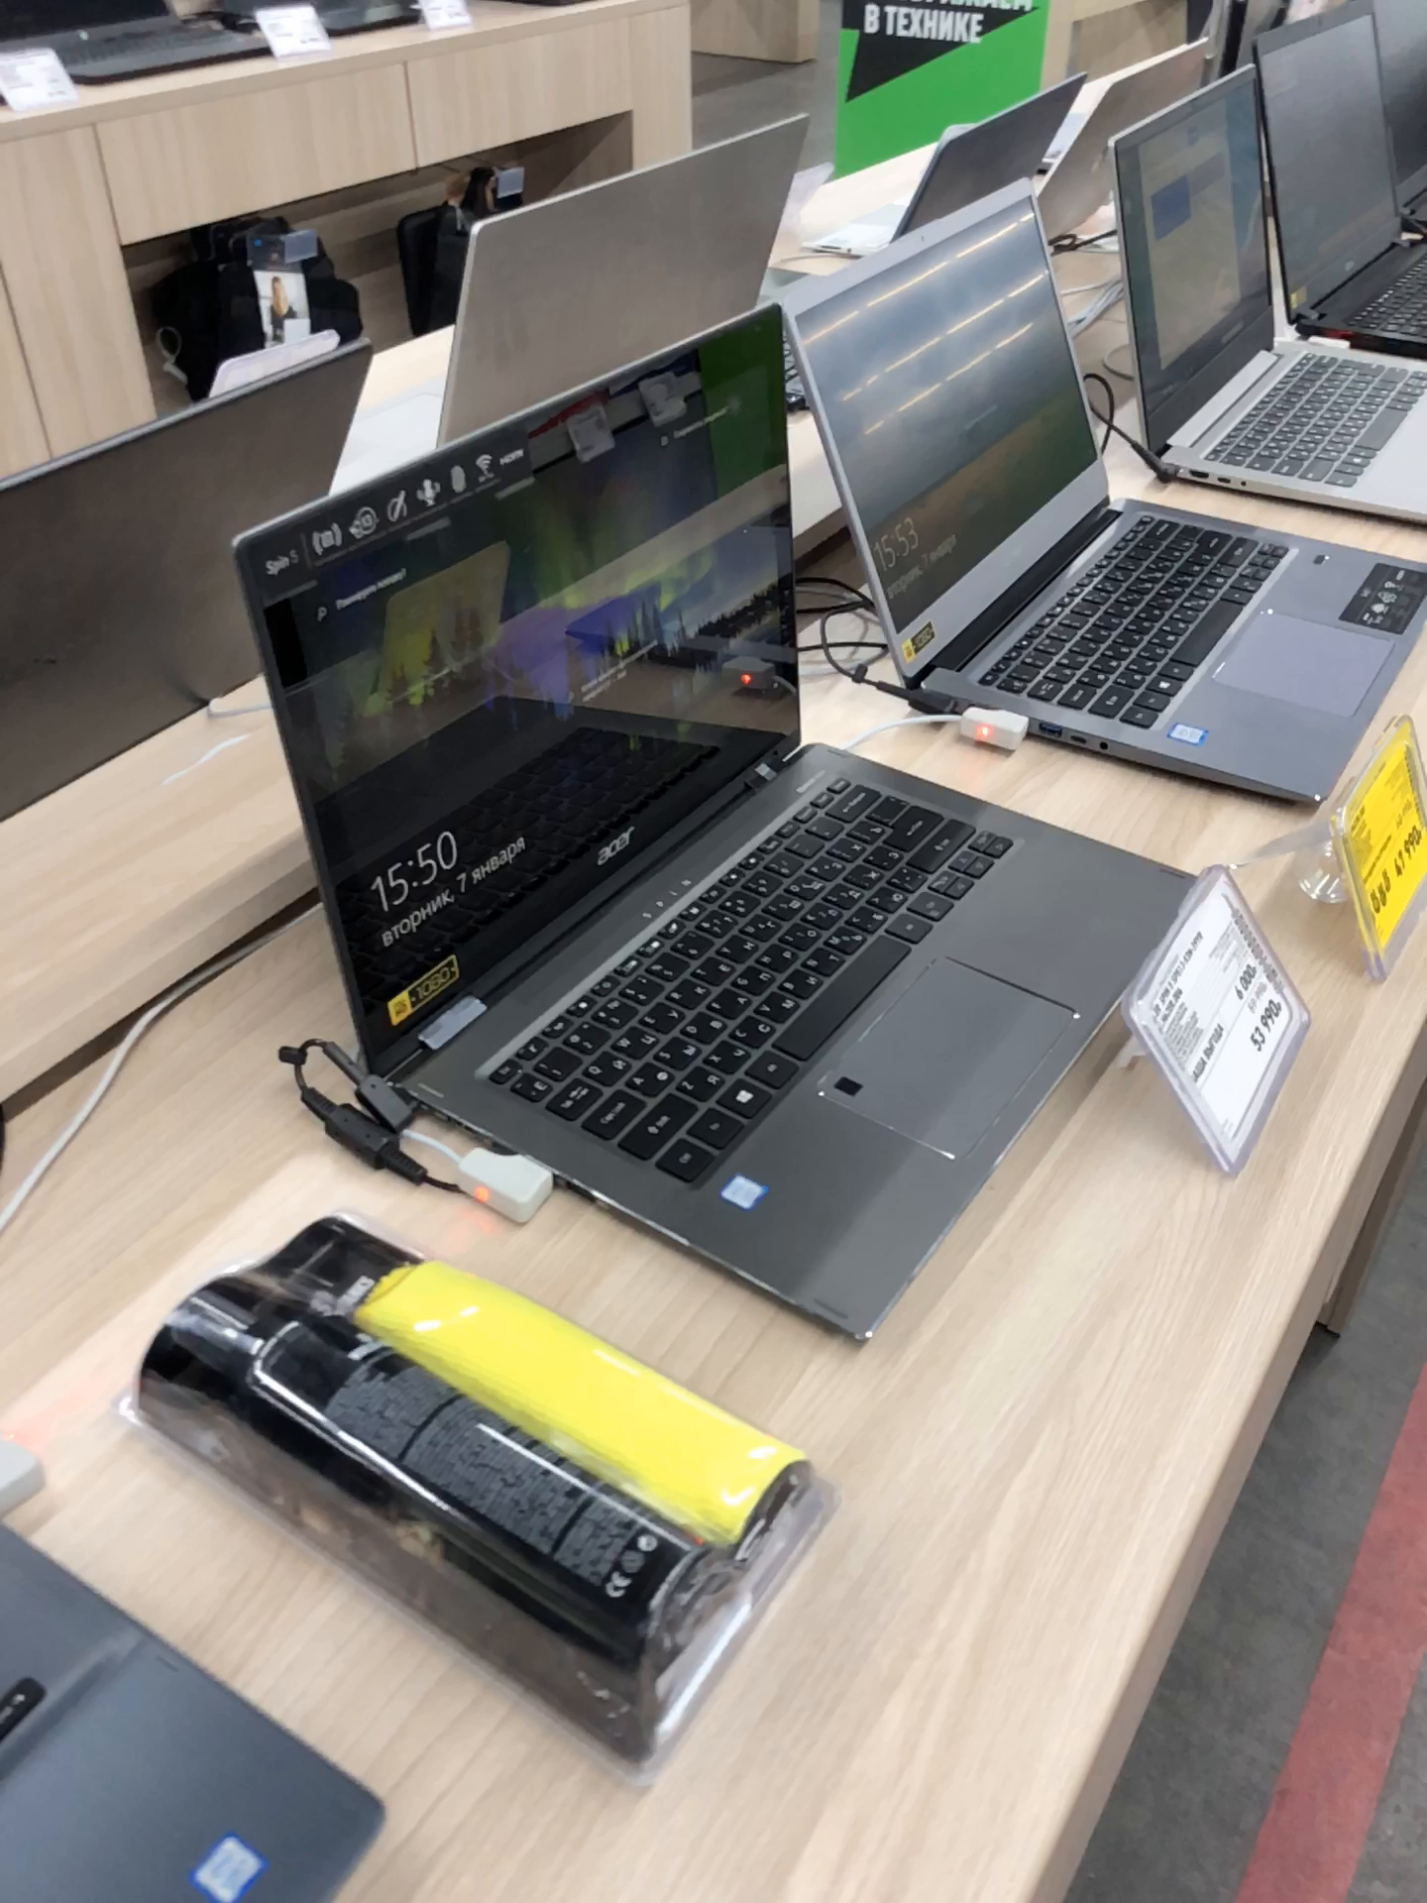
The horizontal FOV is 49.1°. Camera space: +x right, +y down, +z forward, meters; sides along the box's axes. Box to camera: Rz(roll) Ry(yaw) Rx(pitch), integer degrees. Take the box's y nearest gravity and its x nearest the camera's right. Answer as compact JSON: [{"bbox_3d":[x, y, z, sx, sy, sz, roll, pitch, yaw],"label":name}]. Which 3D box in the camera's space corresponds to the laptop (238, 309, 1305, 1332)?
[{"bbox_3d":[0.037,-0.082,0.614,0.245,0.215,0.316,23,43,26],"label":"laptop"}]

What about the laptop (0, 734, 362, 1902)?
[{"bbox_3d":[-0.298,0.175,0.278,0.288,0.215,0.341,22,44,25],"label":"laptop"}]

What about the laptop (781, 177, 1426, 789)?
[{"bbox_3d":[0.245,-0.278,0.874,0.298,0.196,0.271,21,44,25],"label":"laptop"}]
